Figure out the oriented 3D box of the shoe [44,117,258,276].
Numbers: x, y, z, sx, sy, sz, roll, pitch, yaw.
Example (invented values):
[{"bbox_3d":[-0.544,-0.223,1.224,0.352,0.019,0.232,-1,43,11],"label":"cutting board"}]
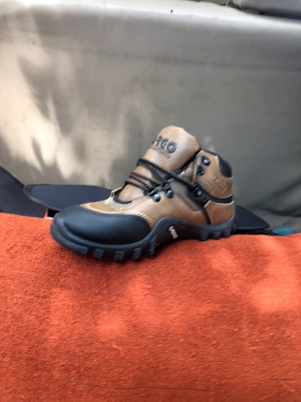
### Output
[{"bbox_3d":[0.010,-0.024,0.452,0.271,0.149,0.110,-8,21,-40],"label":"shoe"}]
